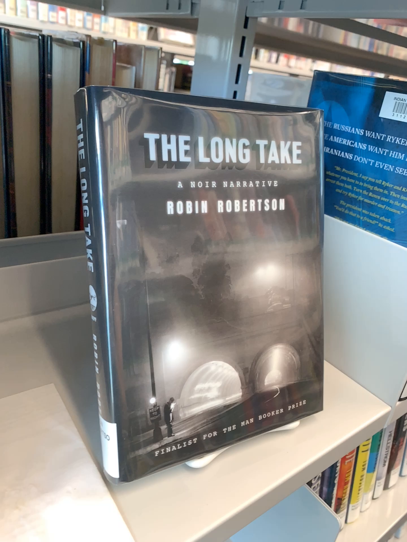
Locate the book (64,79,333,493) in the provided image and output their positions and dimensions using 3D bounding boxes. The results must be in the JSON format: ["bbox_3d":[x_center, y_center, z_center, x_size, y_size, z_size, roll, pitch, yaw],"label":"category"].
[{"bbox_3d":[0.008,0.003,0.264,0.160,0.206,0.040,-7,9,-30],"label":"book"}]
